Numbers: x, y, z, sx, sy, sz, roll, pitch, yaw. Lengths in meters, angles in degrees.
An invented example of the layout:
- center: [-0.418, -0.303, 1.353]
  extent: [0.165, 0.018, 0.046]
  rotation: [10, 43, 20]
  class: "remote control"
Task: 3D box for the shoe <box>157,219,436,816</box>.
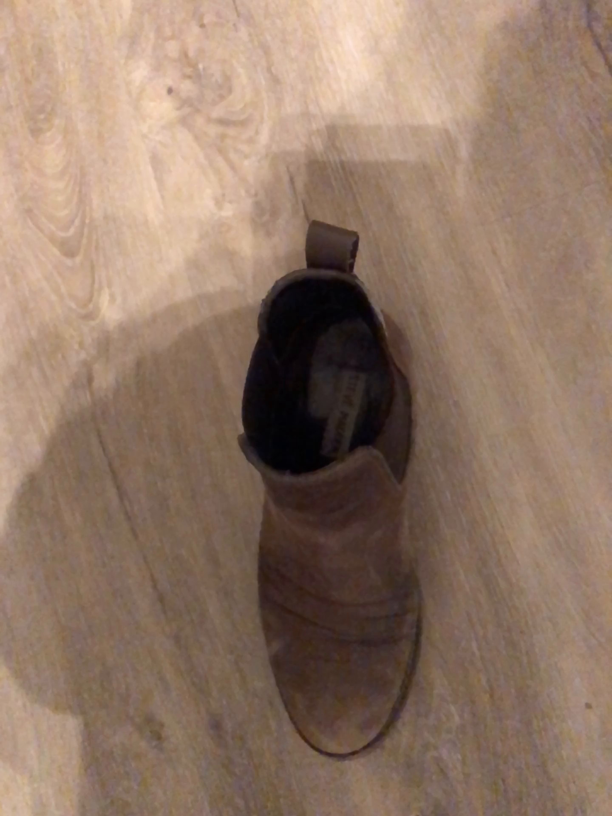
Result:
- center: [0.009, 0.053, 0.331]
  extent: [0.100, 0.140, 0.240]
  rotation: [1, 84, 11]
  class: "shoe"
